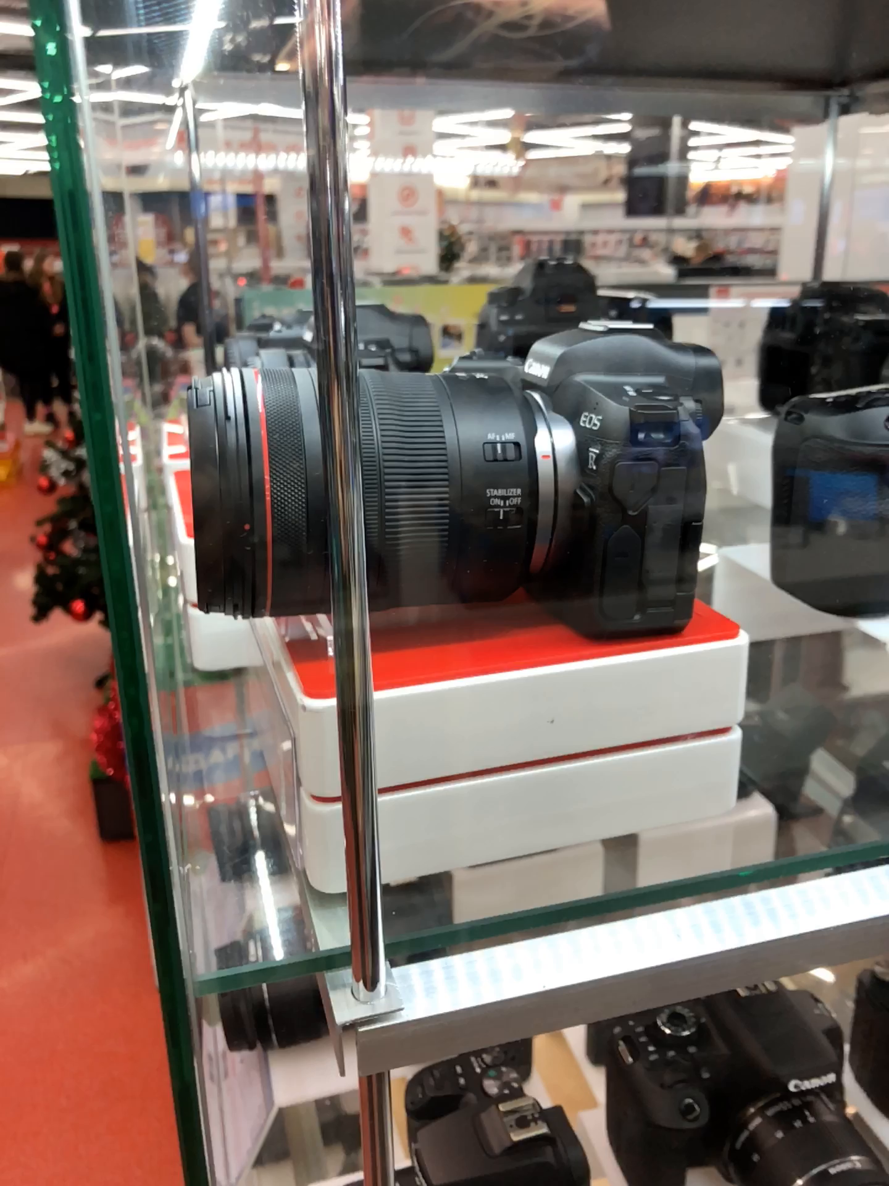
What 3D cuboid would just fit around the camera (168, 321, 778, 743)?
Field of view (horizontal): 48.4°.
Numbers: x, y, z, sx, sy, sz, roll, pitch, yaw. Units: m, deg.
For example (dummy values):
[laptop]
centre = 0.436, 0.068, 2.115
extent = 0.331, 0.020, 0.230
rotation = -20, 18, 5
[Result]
[camera]
centre = -0.002, -0.037, 0.368
extent = 0.183, 0.110, 0.141
rotation = -5, 19, -14
